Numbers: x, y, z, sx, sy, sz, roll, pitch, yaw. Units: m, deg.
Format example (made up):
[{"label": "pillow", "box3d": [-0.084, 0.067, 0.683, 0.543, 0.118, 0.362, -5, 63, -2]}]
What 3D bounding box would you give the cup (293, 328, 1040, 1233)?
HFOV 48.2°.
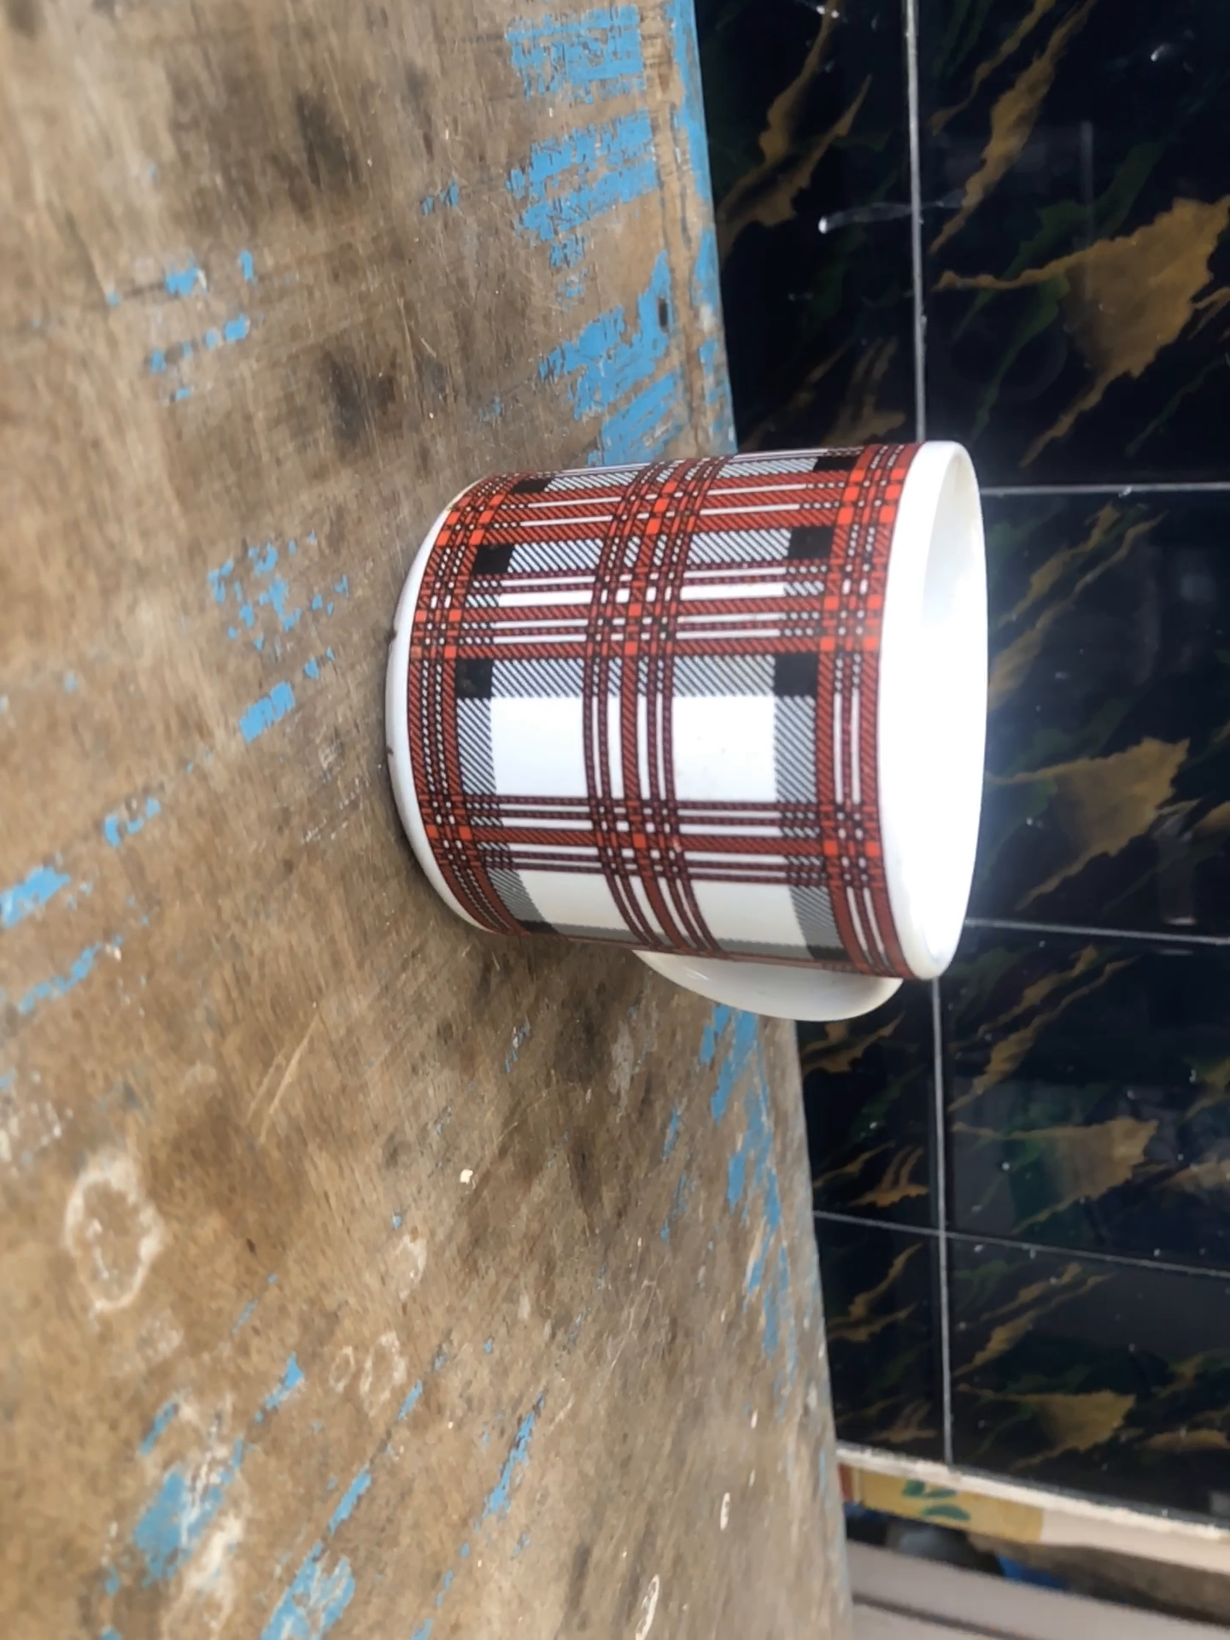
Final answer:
[{"label": "cup", "box3d": [0.018, -0.004, 0.203, 0.060, 0.080, 0.110, -63, 149, -48]}]
